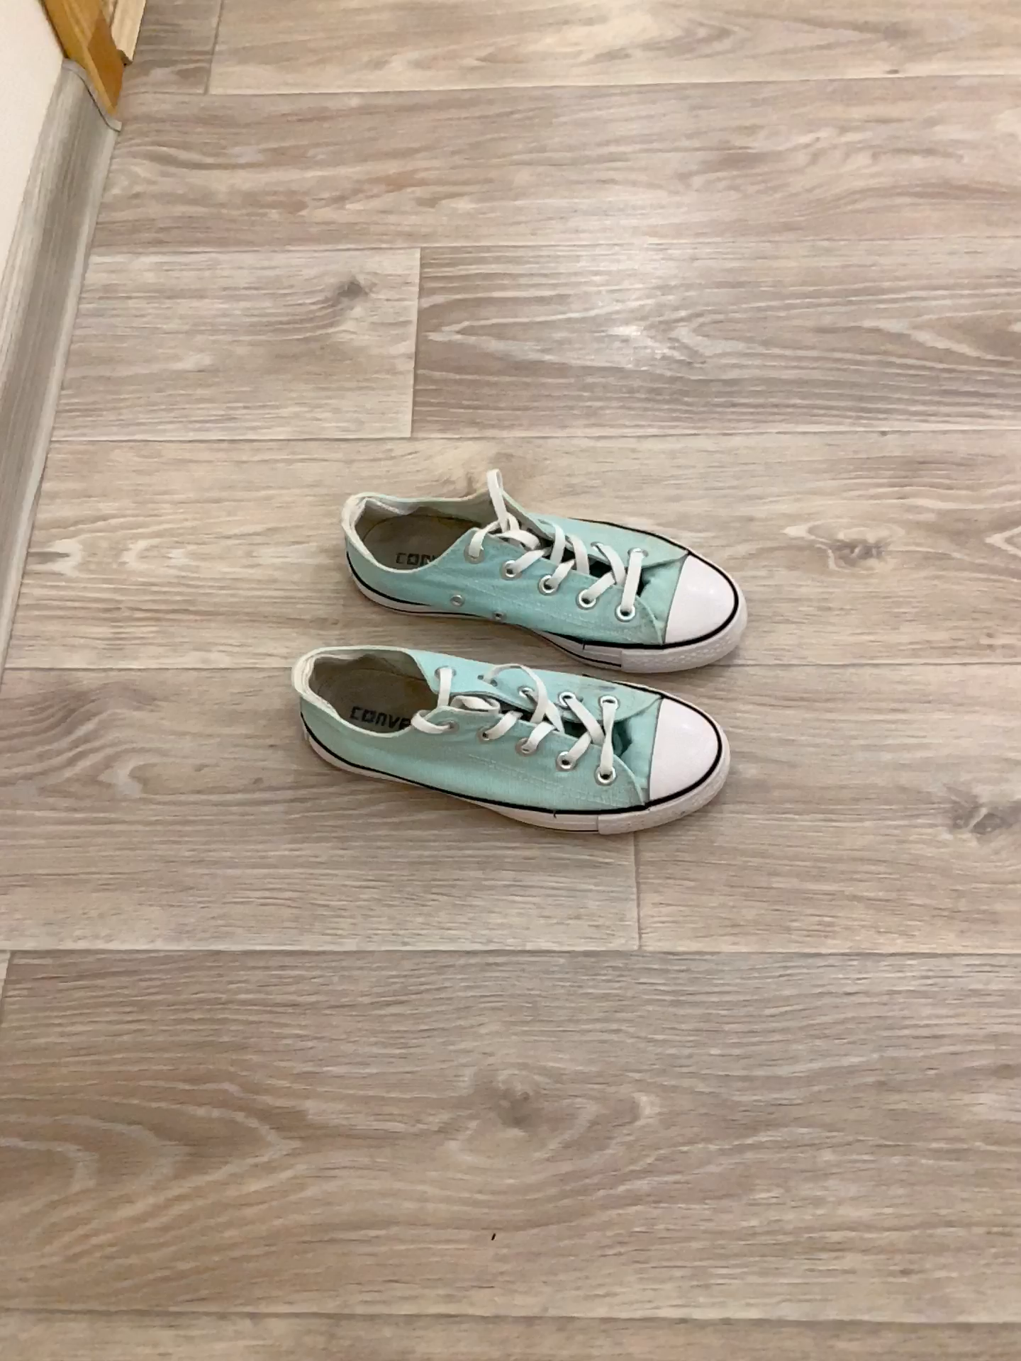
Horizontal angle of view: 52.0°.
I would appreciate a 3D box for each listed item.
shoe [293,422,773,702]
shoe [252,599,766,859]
[{"bbox_3d":[0.014,-0.070,0.608,0.250,0.060,0.100,12,67,7],"label":"shoe"},{"bbox_3d":[0.002,0.025,0.558,0.250,0.060,0.092,7,66,5],"label":"shoe"}]
